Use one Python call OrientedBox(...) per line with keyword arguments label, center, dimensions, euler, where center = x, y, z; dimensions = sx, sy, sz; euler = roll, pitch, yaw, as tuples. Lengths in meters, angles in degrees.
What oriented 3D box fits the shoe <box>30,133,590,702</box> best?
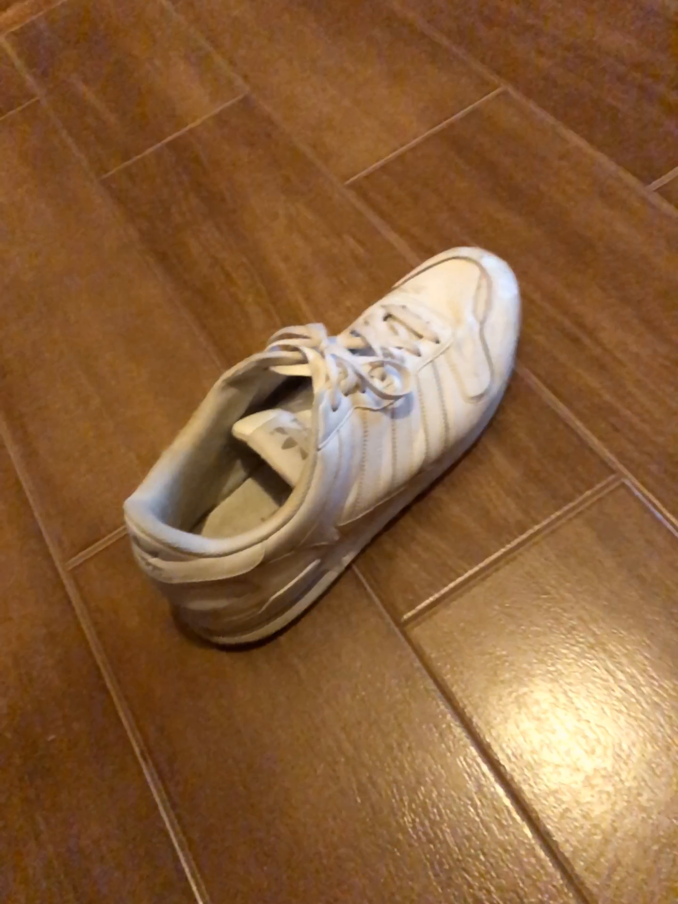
OrientedBox(label="shoe", center=(0.000, -0.025, 0.447), dimensions=(0.120, 0.119, 0.311), euler=(37, 75, 27))
